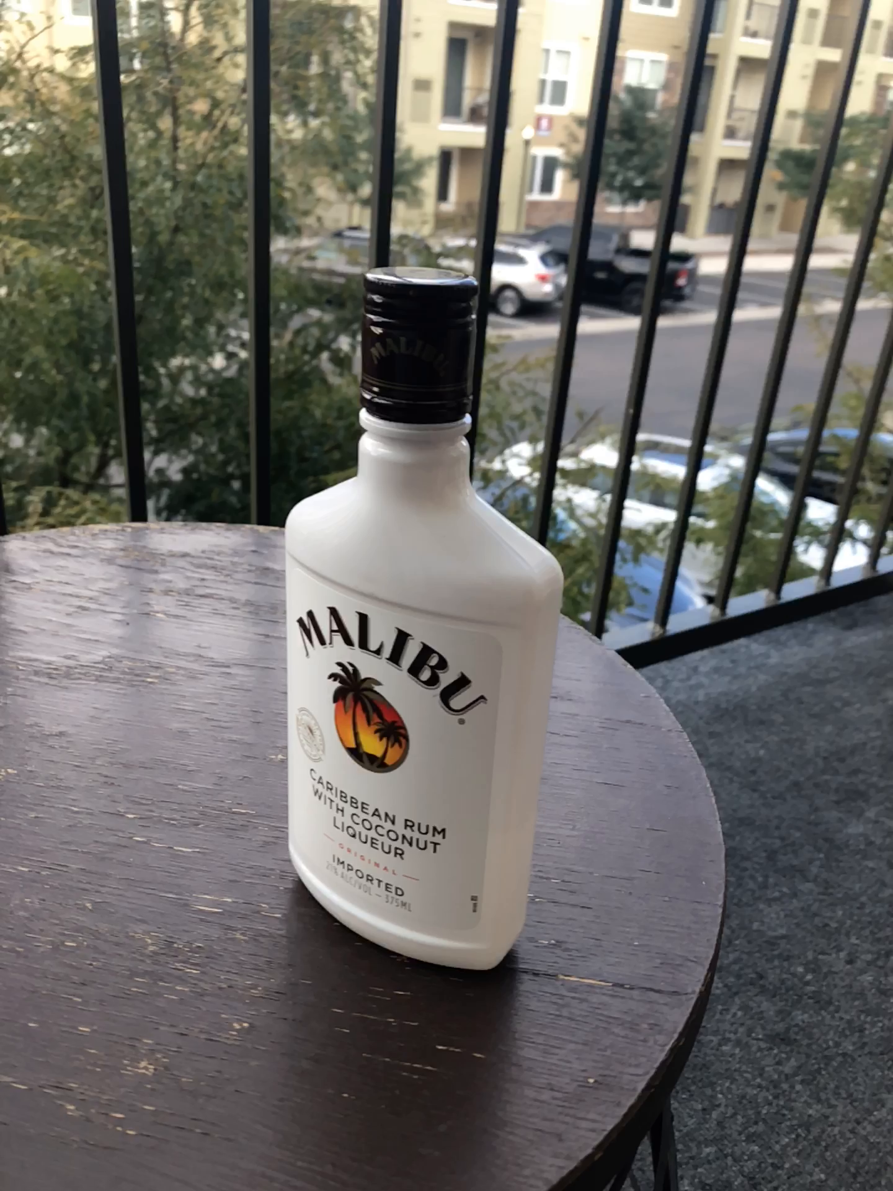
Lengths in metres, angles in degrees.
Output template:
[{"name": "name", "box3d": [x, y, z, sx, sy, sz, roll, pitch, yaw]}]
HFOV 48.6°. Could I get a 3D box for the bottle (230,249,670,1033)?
[{"name": "bottle", "box3d": [-0.008, 0.017, 0.292, 0.100, 0.210, 0.045, 19, 31, 25]}]
